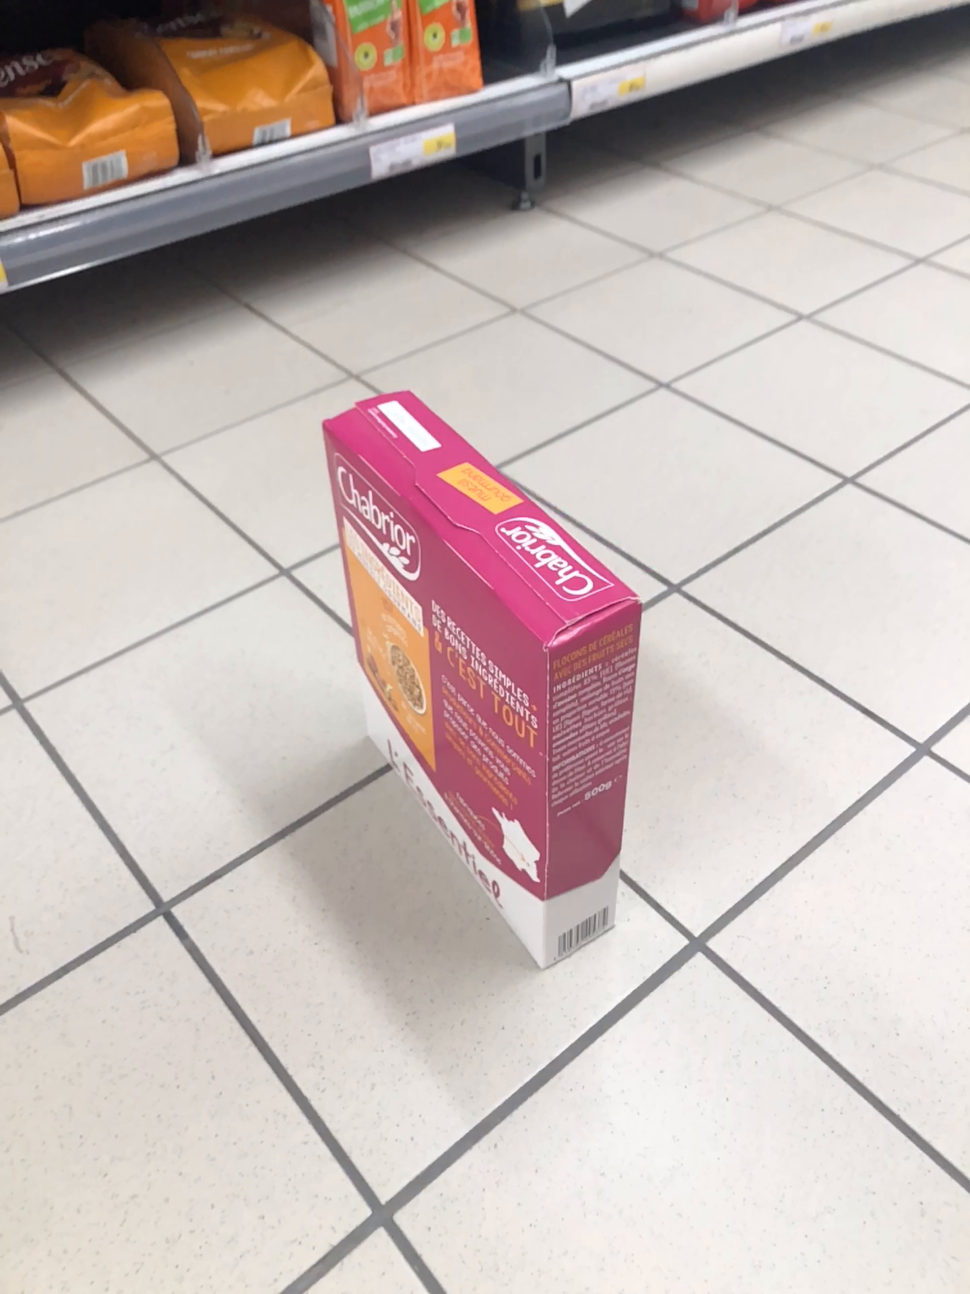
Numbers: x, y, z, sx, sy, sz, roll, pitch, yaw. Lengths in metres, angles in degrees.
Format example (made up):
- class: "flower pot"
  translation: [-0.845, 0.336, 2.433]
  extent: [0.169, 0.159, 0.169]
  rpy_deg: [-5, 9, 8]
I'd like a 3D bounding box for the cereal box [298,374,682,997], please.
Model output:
- class: "cereal box"
  translation: [-0.005, 0.019, 0.533]
  extent: [0.060, 0.229, 0.211]
  rpy_deg: [-24, 47, -23]
